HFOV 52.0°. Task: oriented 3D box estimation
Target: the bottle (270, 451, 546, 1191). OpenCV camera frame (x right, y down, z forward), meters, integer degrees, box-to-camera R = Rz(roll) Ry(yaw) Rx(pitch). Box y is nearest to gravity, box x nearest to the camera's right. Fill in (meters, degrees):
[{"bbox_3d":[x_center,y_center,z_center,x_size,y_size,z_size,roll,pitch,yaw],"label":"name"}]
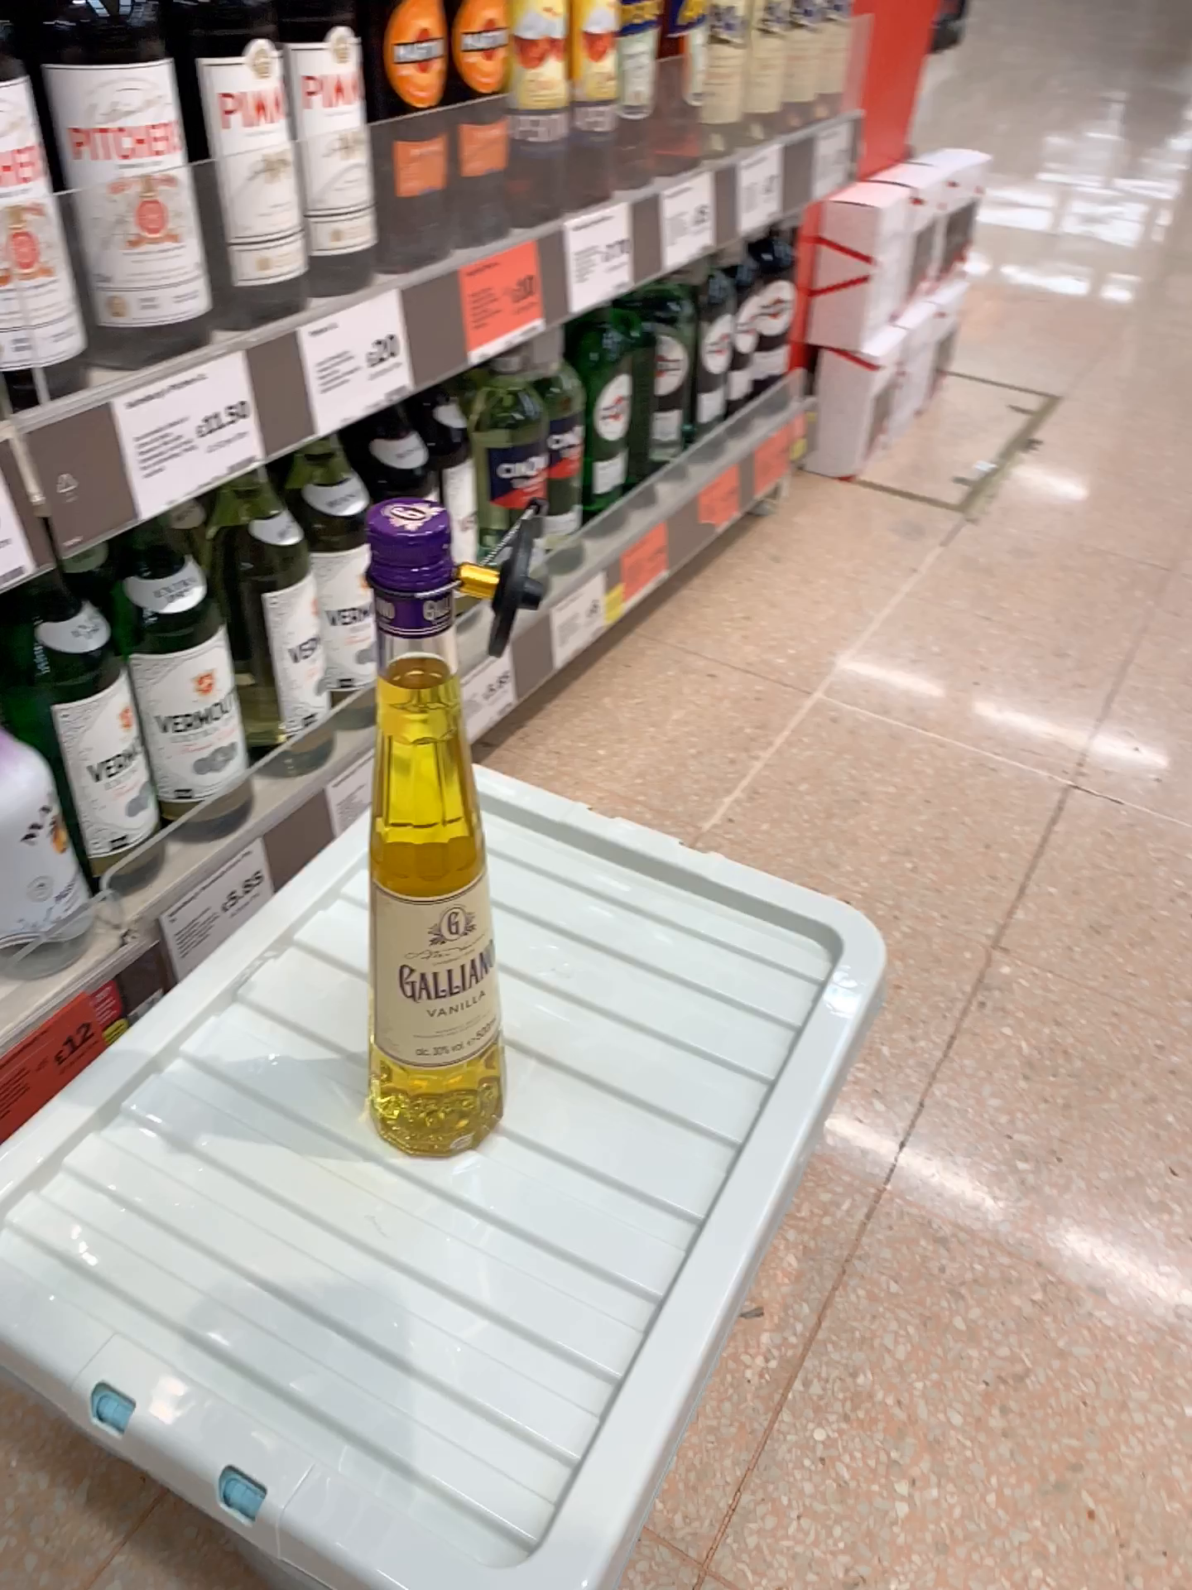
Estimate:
[{"bbox_3d":[-0.076,0.032,0.549,0.073,0.347,0.070,2,38,-2],"label":"bottle"}]
